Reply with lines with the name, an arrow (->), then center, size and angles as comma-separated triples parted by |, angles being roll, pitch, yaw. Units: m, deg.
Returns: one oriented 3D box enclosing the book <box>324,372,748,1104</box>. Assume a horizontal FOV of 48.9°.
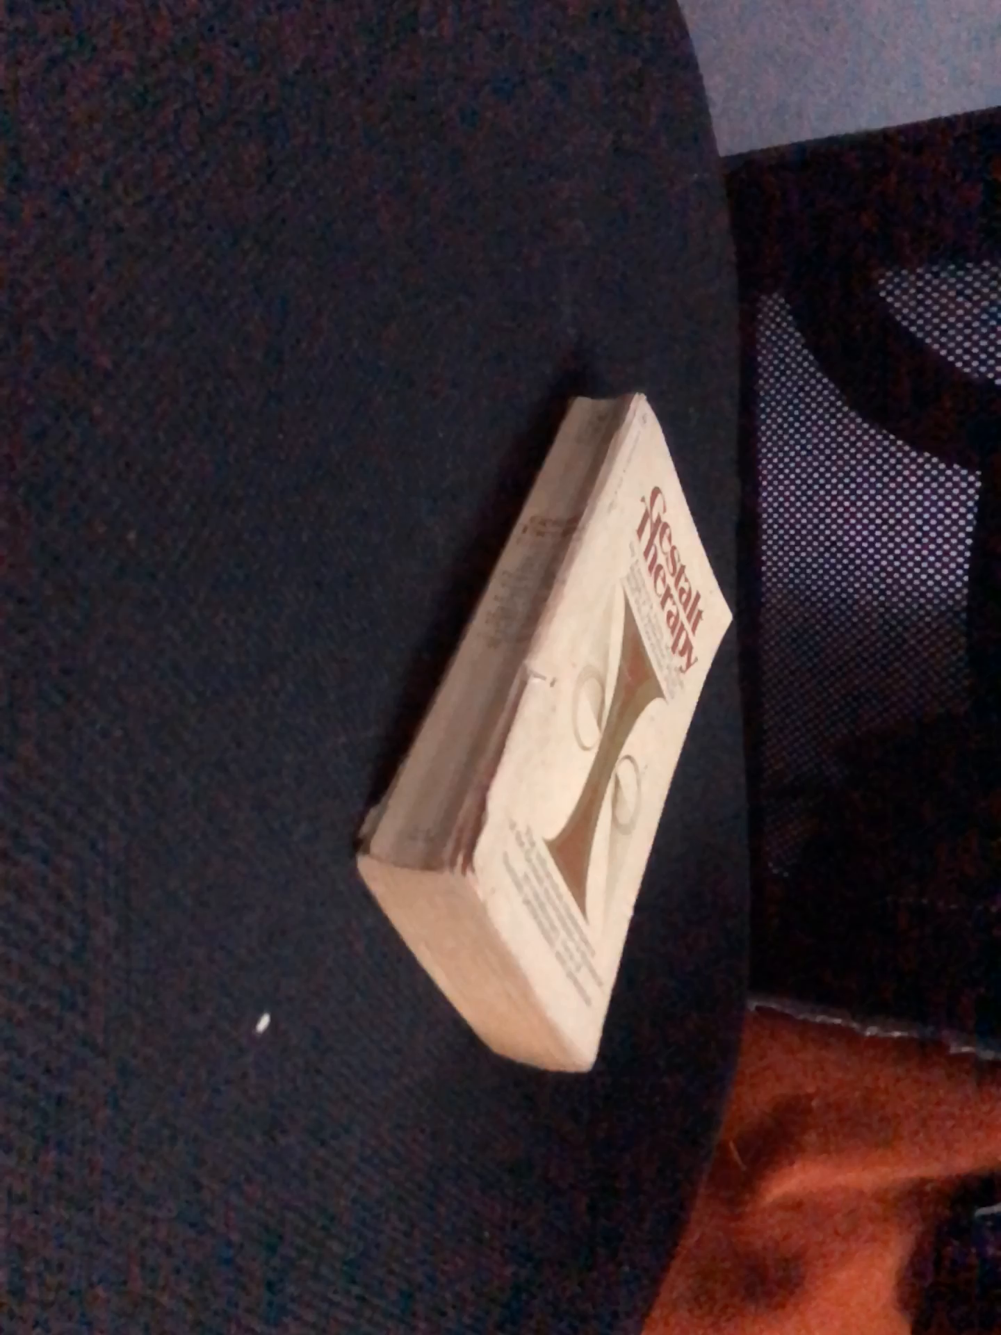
book -> 0.027, 0.016, 0.336 | 0.121, 0.034, 0.183 | 61, 40, -40
